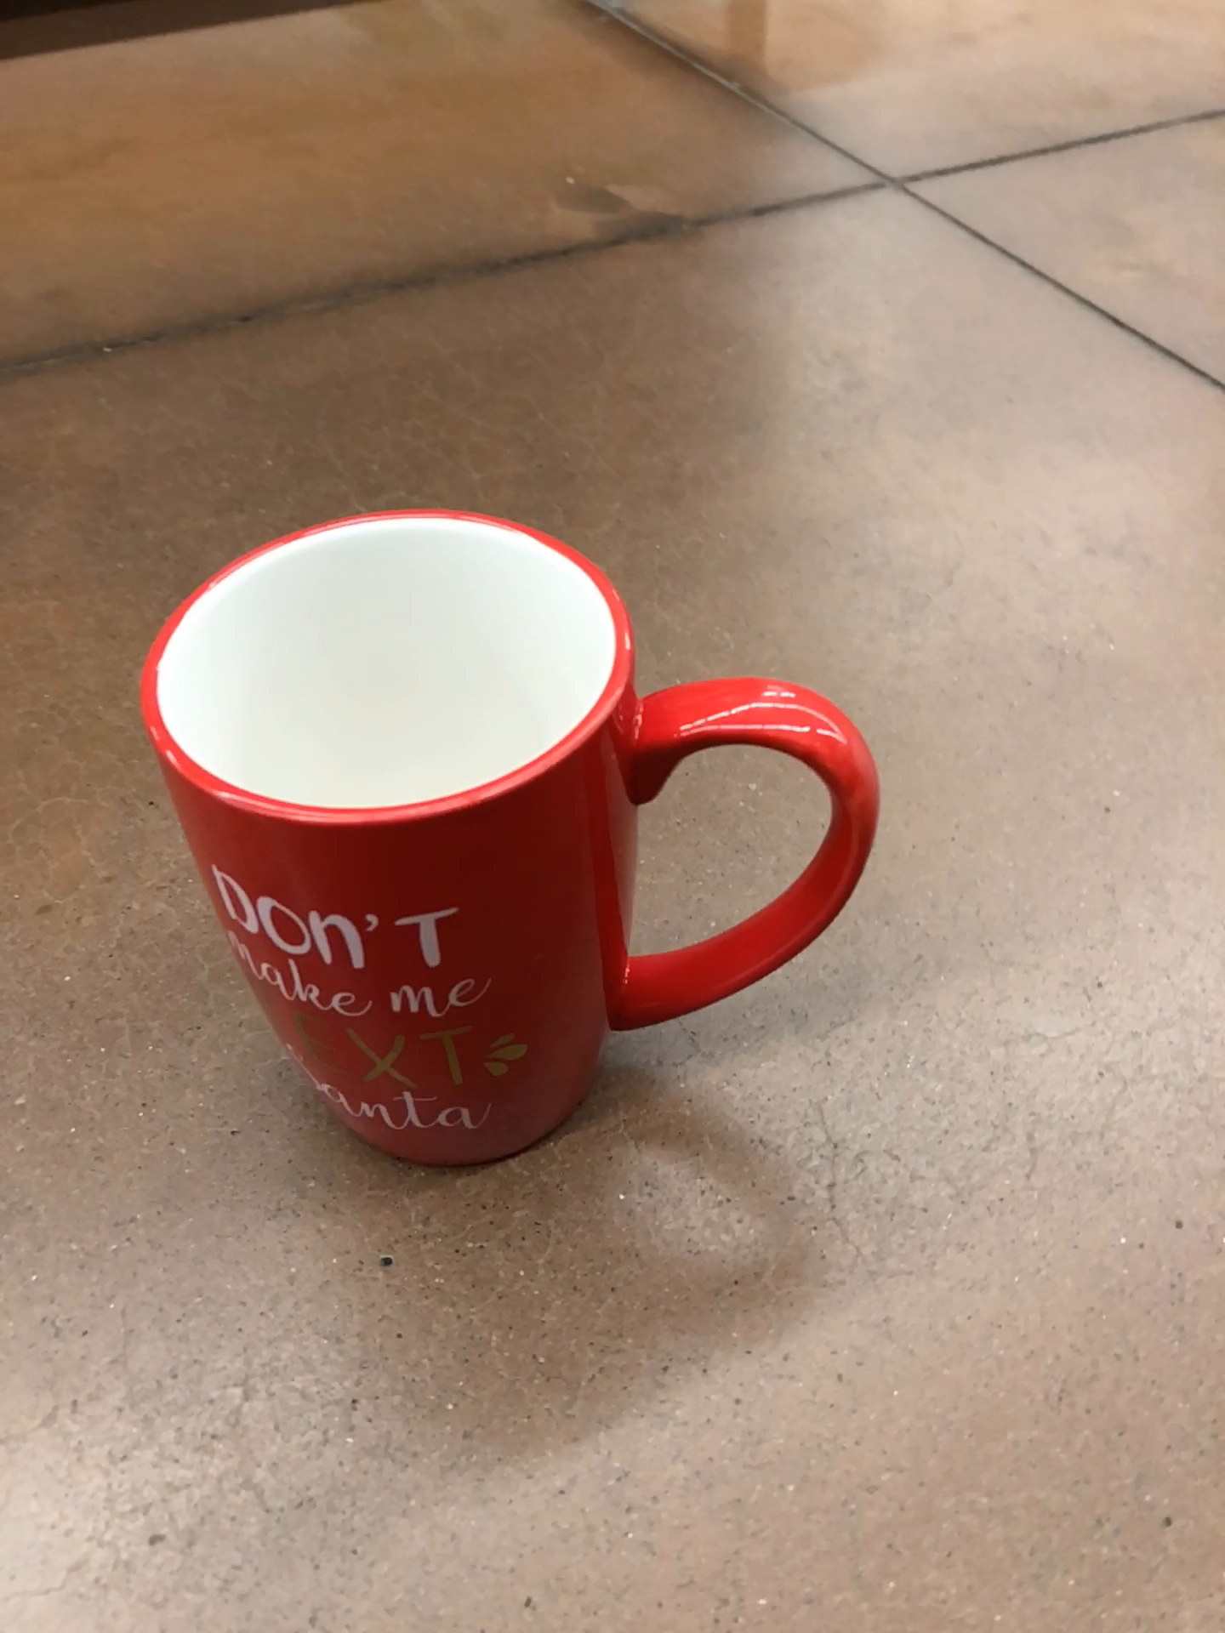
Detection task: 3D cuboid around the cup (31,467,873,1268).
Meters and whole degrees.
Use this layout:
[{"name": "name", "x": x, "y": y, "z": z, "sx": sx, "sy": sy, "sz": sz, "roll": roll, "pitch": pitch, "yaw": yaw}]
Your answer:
[{"name": "cup", "x": -0.020, "y": 0.012, "z": 0.287, "sx": 0.130, "sy": 0.130, "sz": 0.090, "roll": 6, "pitch": 46, "yaw": 9}]
